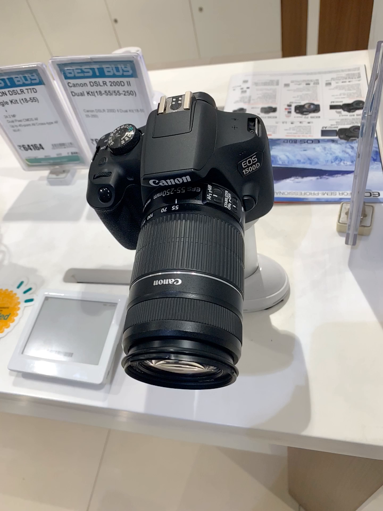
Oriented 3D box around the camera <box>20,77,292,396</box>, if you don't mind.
[{"bbox_3d":[-0.006,-0.009,0.244,0.117,0.090,0.164,-4,59,11],"label":"camera"}]
